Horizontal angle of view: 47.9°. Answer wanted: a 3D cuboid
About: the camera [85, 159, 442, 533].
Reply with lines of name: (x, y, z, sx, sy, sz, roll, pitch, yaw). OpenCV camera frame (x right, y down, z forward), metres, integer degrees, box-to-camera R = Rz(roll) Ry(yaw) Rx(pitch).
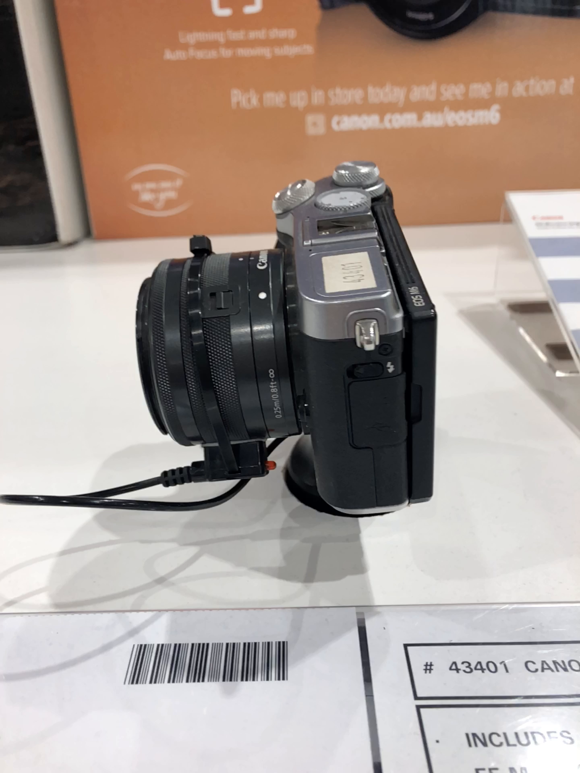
camera: (-0.003, -0.020, 0.213, 0.083, 0.075, 0.103, -5, 31, 3)
